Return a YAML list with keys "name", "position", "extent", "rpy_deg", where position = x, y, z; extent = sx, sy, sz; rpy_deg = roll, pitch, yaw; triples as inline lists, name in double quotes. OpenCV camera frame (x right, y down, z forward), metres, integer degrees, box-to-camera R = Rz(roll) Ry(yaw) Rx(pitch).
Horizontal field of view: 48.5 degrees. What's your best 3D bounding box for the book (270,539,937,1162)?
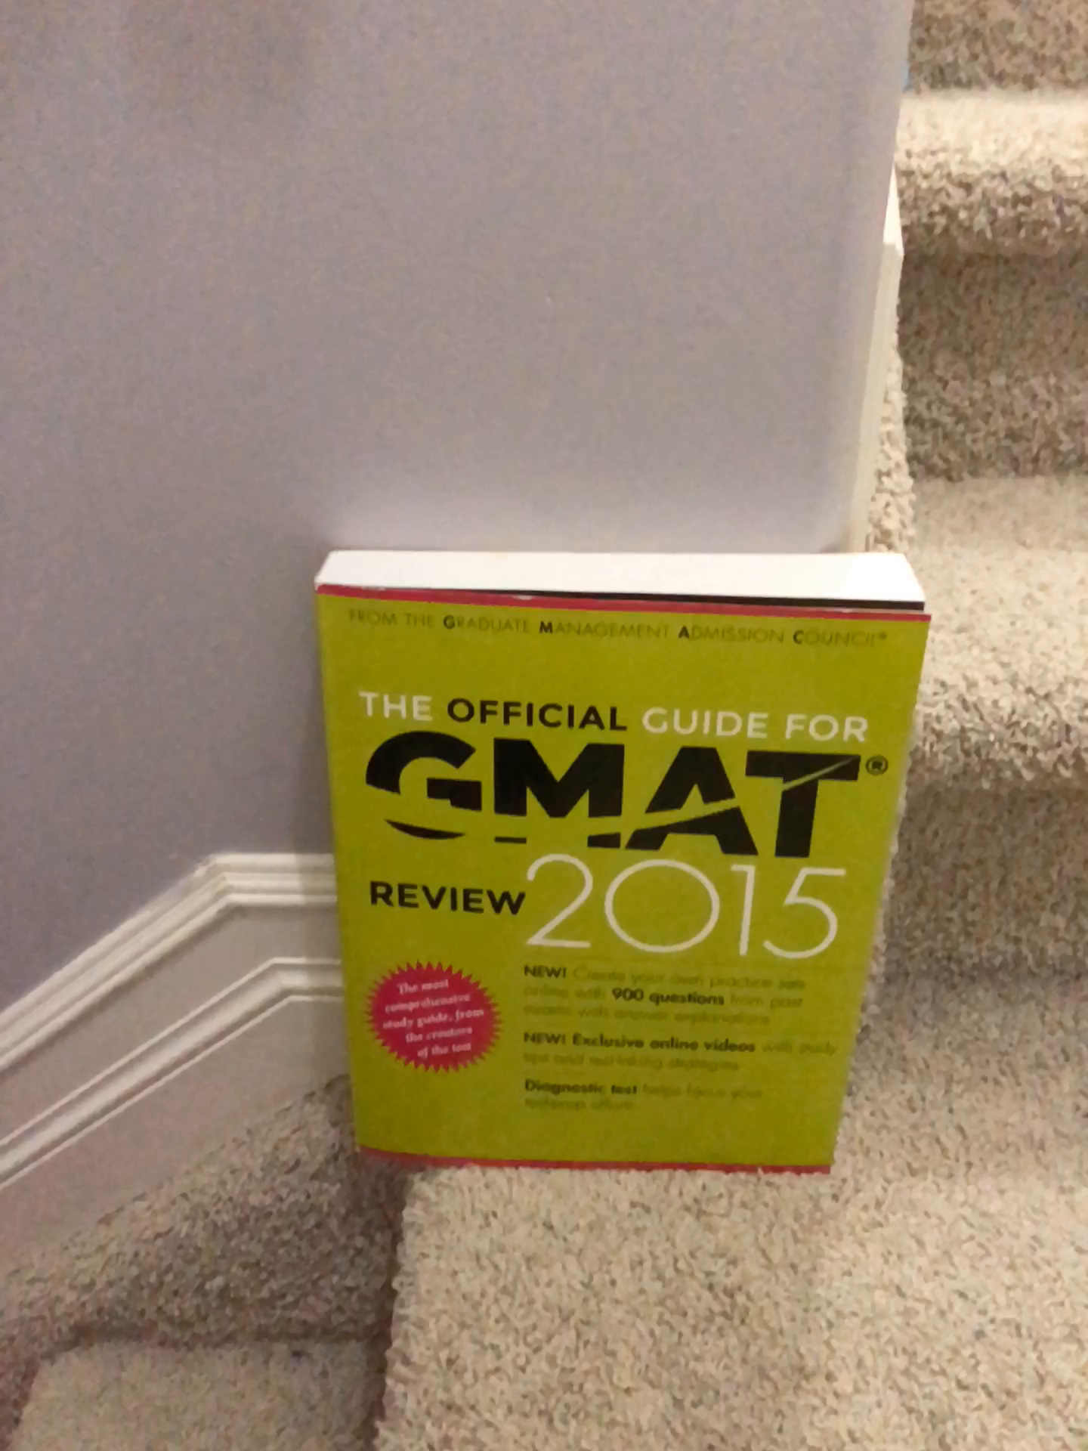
- name: "book"
  position: [0.022, 0.062, 0.505]
  extent: [0.235, 0.277, 0.040]
  rpy_deg: [1, 26, 2]
